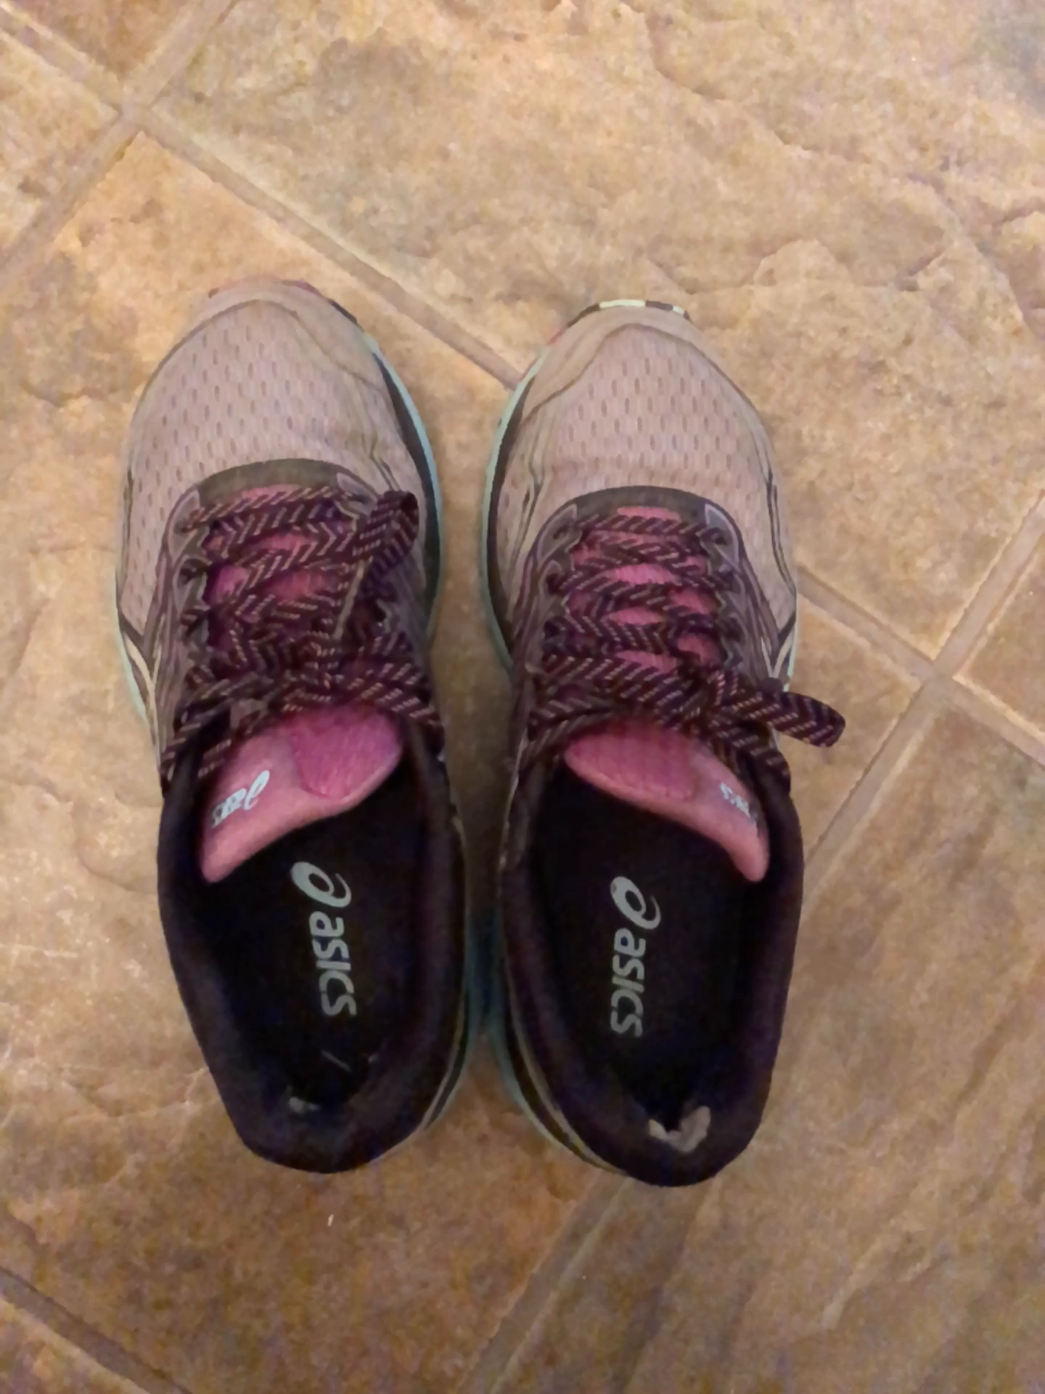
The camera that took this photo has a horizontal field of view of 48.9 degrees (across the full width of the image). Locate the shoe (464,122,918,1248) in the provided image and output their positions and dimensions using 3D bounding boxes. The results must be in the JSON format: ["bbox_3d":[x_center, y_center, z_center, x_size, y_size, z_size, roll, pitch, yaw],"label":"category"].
[{"bbox_3d":[0.041,-0.003,0.348,0.110,0.120,0.280,1,86,-4],"label":"shoe"}]

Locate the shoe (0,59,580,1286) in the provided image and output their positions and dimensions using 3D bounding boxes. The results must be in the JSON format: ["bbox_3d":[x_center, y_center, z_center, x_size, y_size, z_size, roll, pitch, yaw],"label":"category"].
[{"bbox_3d":[-0.066,-0.008,0.334,0.110,0.120,0.280,-9,87,-4],"label":"shoe"}]
